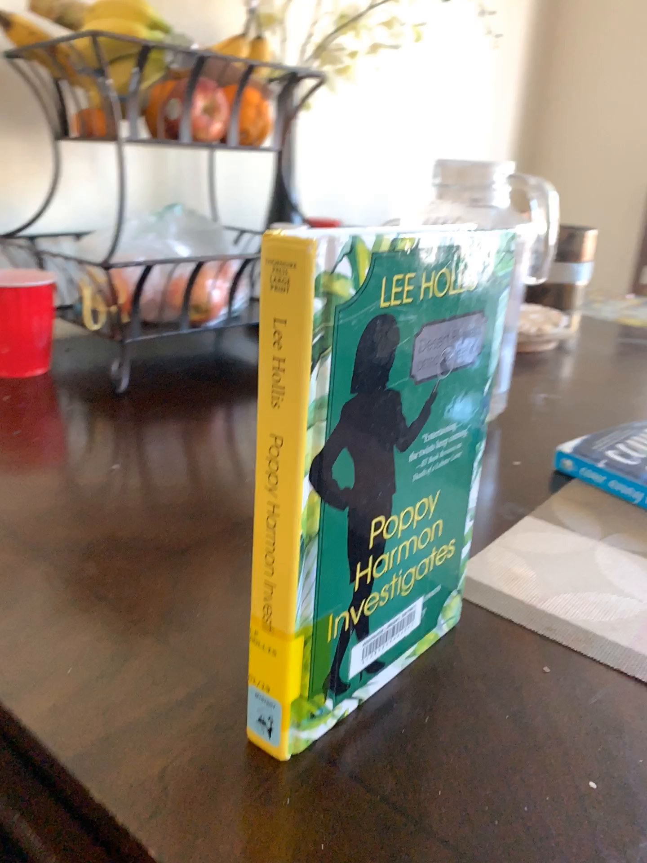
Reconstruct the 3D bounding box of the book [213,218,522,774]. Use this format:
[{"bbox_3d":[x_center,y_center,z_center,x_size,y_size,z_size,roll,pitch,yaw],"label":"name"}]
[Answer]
[{"bbox_3d":[0.023,0.018,0.312,0.040,0.220,0.154,19,26,38],"label":"book"}]
